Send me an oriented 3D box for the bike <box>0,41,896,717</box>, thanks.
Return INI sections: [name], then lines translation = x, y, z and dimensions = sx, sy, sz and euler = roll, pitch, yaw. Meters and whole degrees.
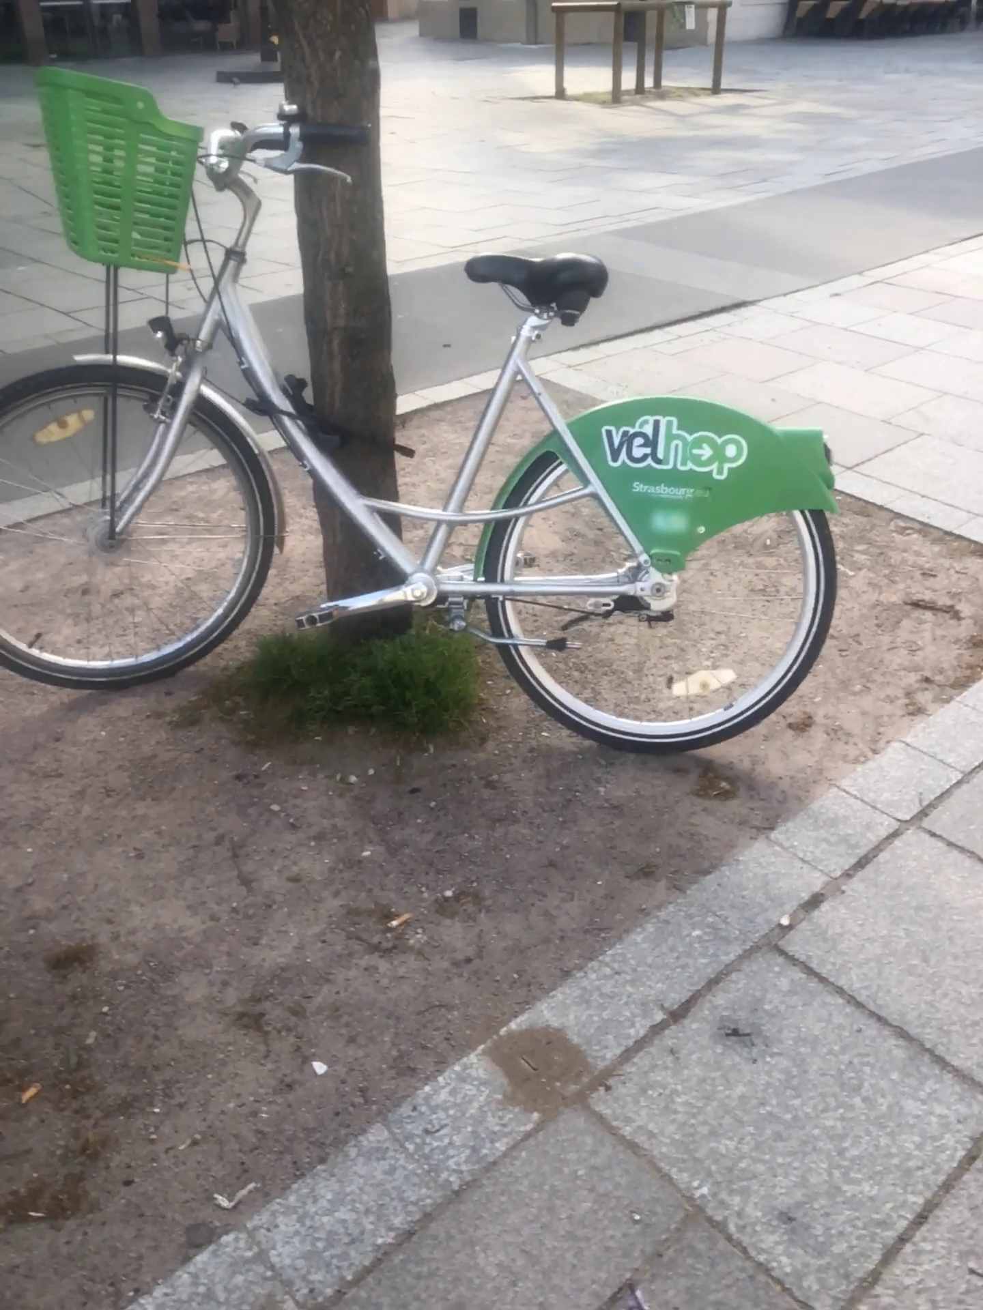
[bike]
translation = -0.188, -0.454, 2.041
dimensions = 1.719, 1.114, 0.313
euler = 0, 31, -4
